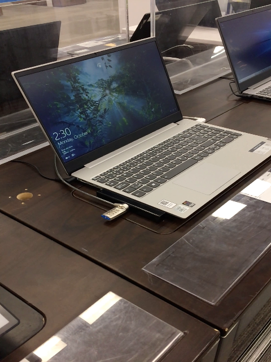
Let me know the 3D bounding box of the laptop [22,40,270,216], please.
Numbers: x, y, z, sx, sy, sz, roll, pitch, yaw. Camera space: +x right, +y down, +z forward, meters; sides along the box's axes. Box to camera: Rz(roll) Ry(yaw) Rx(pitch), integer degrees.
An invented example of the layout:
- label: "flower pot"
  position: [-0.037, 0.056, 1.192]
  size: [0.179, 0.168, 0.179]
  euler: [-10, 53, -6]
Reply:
- label: "laptop"
  position: [0.070, -0.131, 0.693]
  size: [0.340, 0.195, 0.336]
  euler: [23, 43, 31]
